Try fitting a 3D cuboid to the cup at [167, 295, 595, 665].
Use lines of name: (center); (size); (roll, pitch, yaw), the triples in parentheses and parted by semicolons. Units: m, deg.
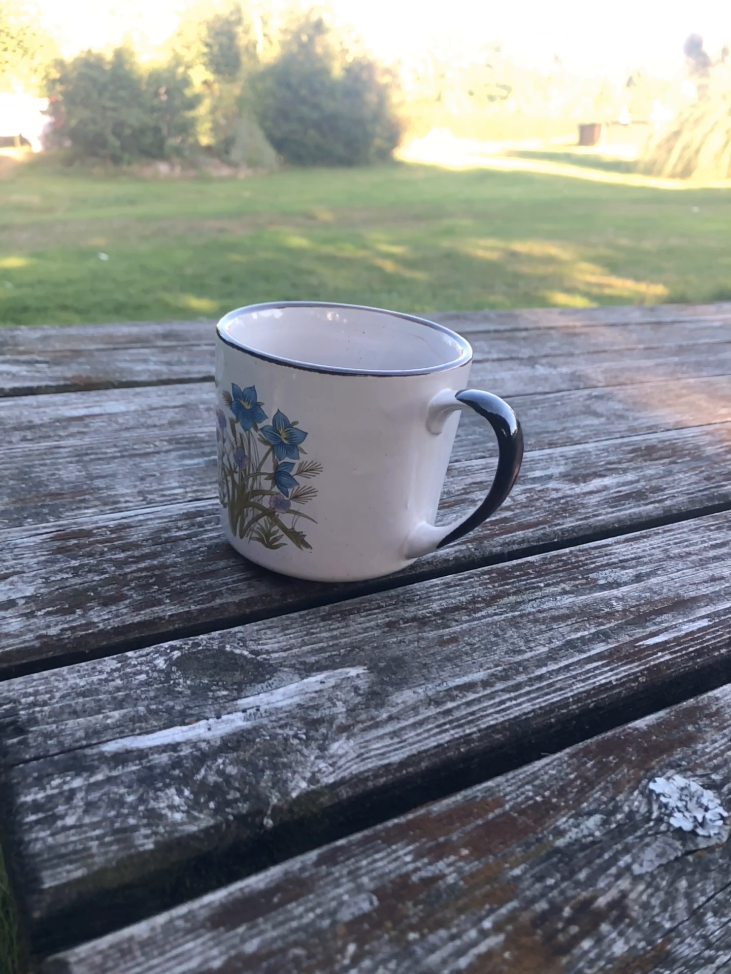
cup: (0.002, -0.013, 0.276); (0.108, 0.078, 0.087); (22, 27, 34)
